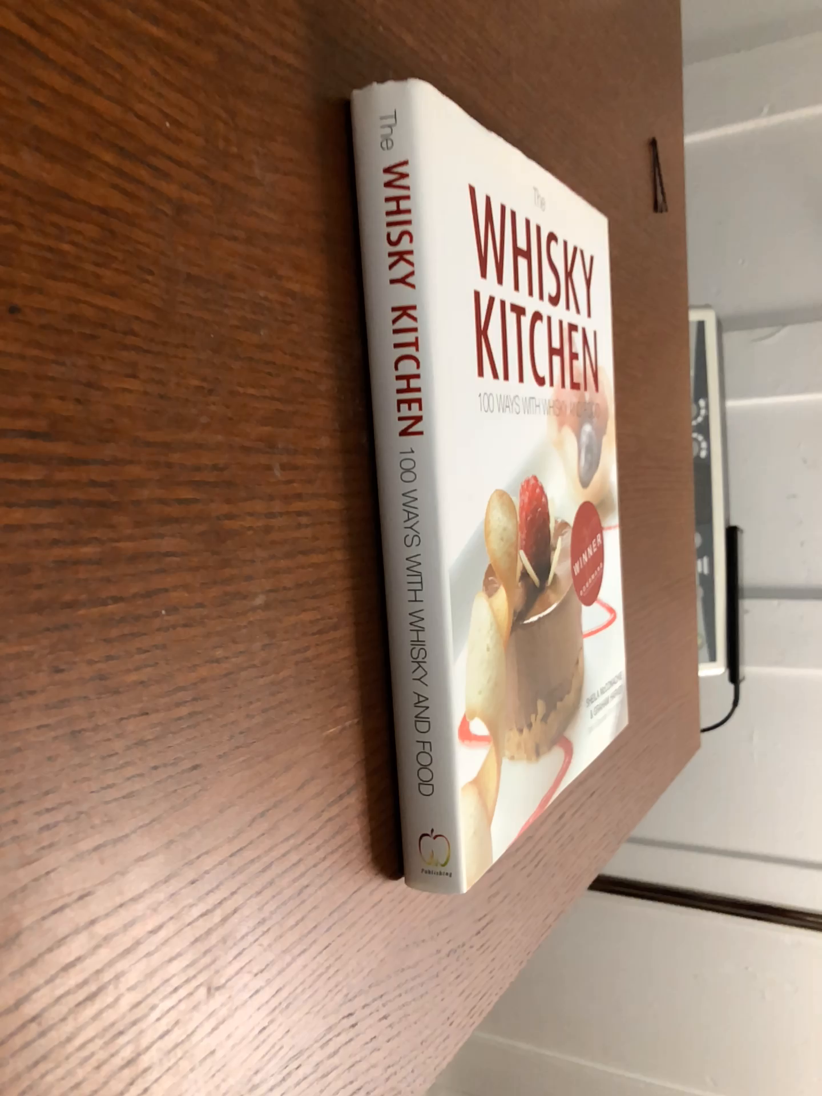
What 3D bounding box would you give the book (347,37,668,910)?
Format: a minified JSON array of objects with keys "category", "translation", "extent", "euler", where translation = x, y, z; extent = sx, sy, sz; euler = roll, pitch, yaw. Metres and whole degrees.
[{"category":"book","translation":[0.058,-0.029,0.390],"extent":[0.221,0.040,0.270],"euler":[-13,100,-61]}]
